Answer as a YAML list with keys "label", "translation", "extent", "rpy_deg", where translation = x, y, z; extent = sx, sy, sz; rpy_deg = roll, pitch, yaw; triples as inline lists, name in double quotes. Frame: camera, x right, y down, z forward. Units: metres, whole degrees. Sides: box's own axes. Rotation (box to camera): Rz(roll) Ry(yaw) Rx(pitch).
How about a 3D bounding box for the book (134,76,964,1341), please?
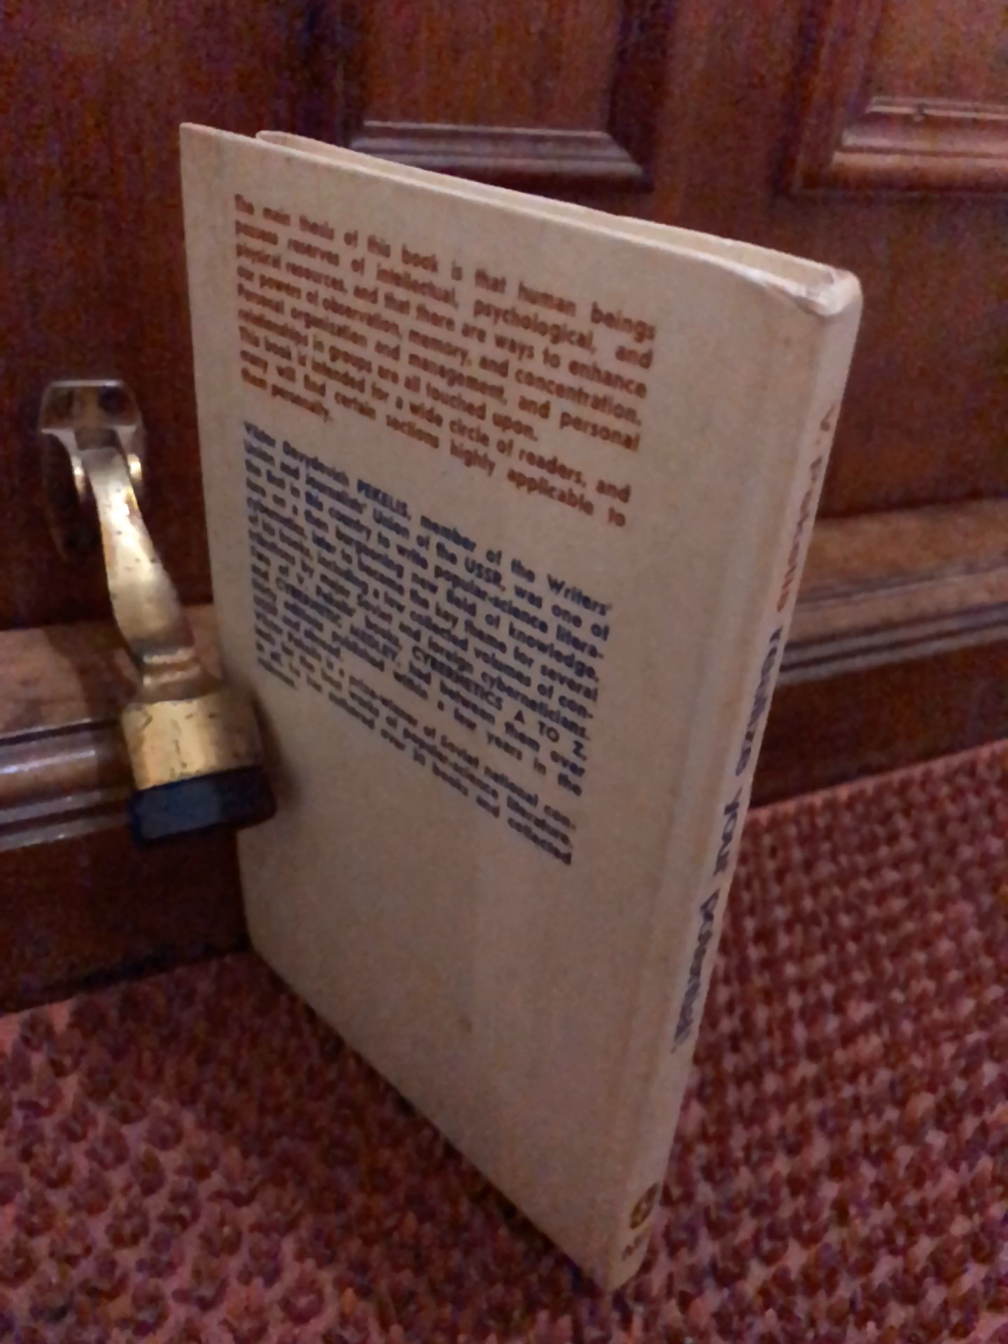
- label: "book"
  translation: [-0.015, 0.009, 0.227]
  extent: [0.030, 0.209, 0.150]
  rpy_deg: [-22, 42, -36]
